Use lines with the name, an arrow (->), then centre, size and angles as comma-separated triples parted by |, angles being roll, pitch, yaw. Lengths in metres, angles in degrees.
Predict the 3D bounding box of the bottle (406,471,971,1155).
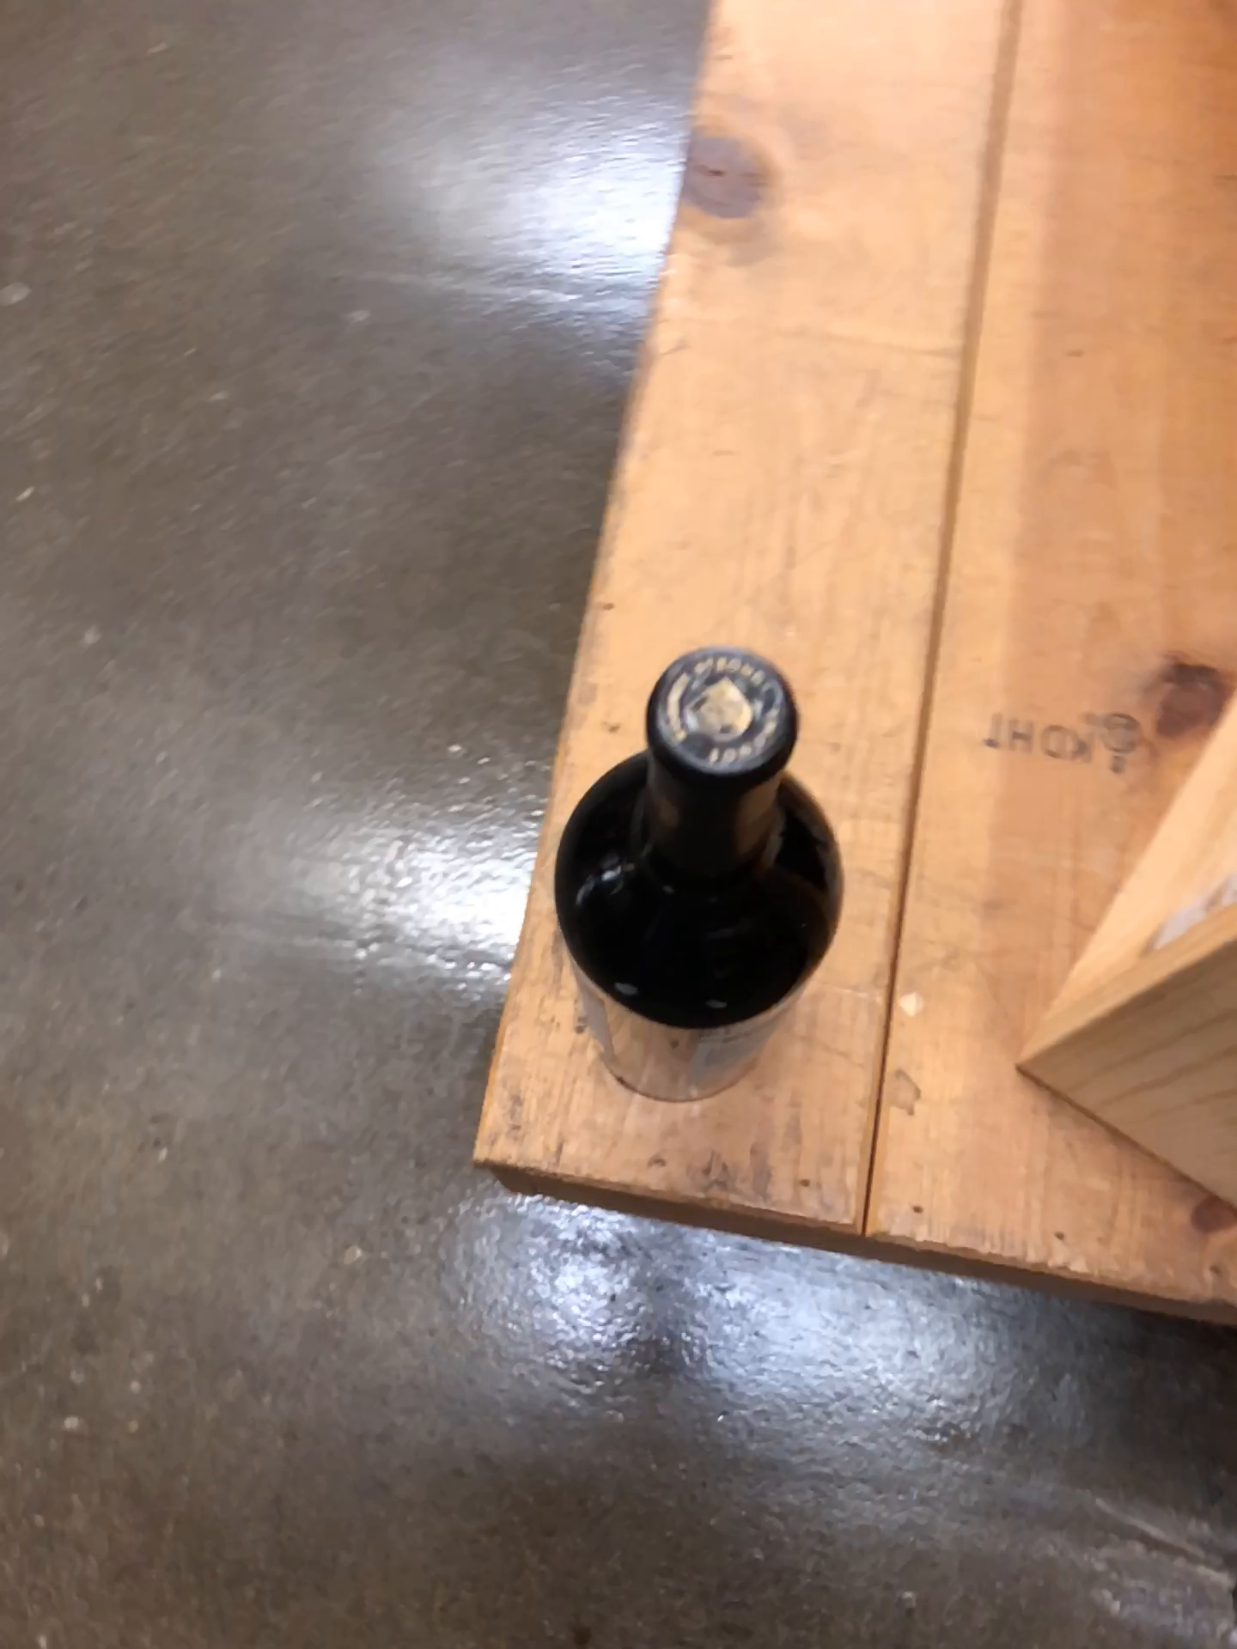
bottle -> 0.018, 0.030, 0.394 | 0.070, 0.310, 0.080 | 32, 76, 11
